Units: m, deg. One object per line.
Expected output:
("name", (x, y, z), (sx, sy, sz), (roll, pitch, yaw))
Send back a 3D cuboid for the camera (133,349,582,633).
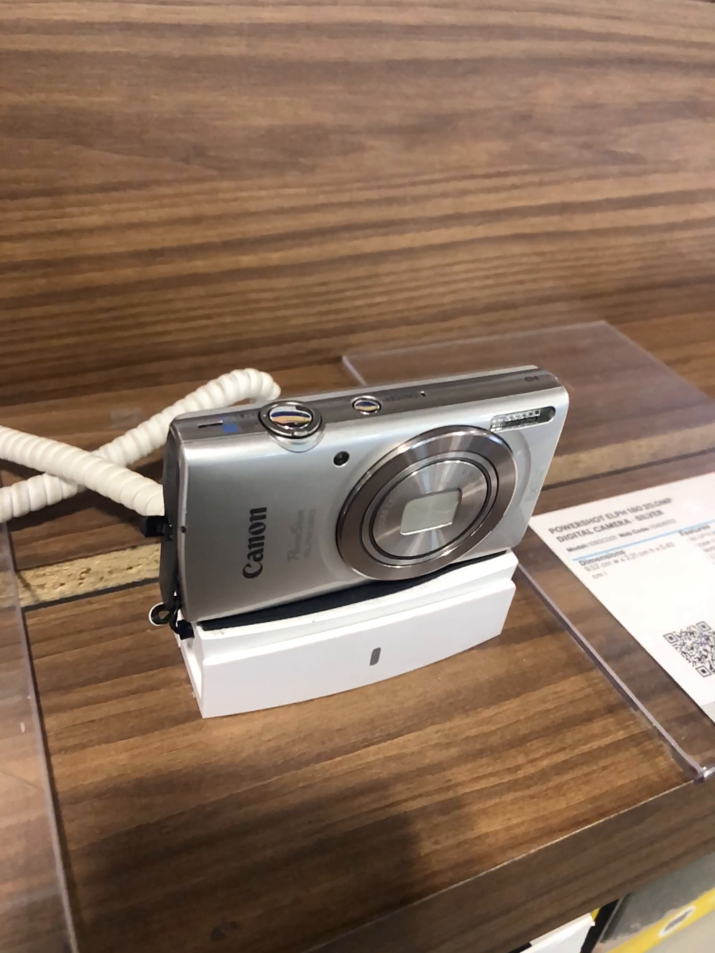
("camera", (0.001, 0.002, 0.192), (0.100, 0.050, 0.020), (-10, 42, -22))
